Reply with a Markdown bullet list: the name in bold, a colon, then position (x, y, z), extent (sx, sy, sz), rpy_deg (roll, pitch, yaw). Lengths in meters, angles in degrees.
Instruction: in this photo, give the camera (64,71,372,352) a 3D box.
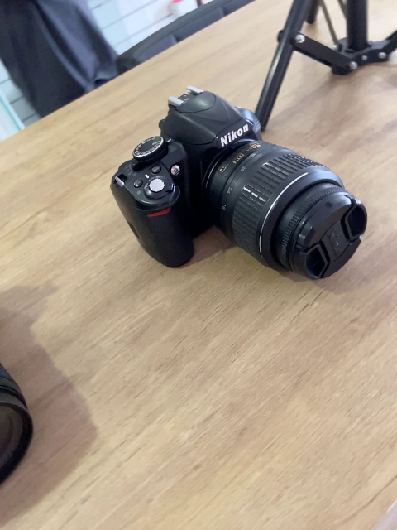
- **camera**: position (0.008, -0.056, 0.307), extent (0.130, 0.090, 0.181), rpy_deg (-35, 45, -14)
